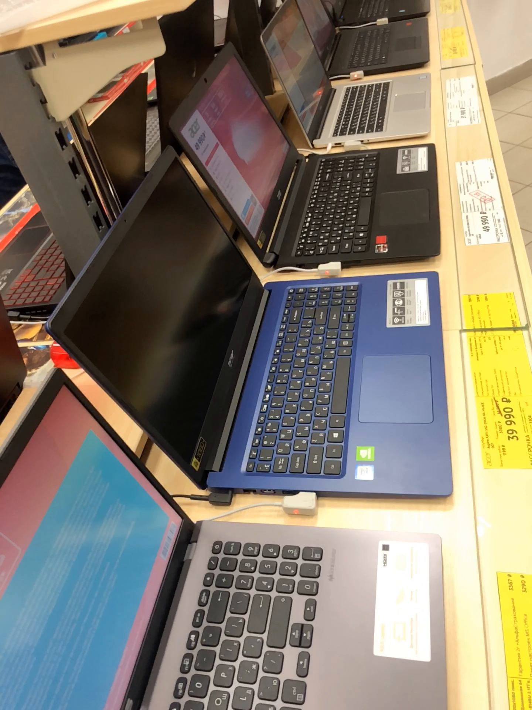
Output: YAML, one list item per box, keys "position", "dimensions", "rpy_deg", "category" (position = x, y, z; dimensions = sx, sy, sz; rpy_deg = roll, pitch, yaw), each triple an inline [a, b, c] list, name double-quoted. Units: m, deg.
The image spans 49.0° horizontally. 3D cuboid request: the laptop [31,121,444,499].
- position: [0.015, -0.067, 0.650]
  dimensions: [0.327, 0.221, 0.359]
  rpy_deg: [-1, 41, 13]
  category: "laptop"
